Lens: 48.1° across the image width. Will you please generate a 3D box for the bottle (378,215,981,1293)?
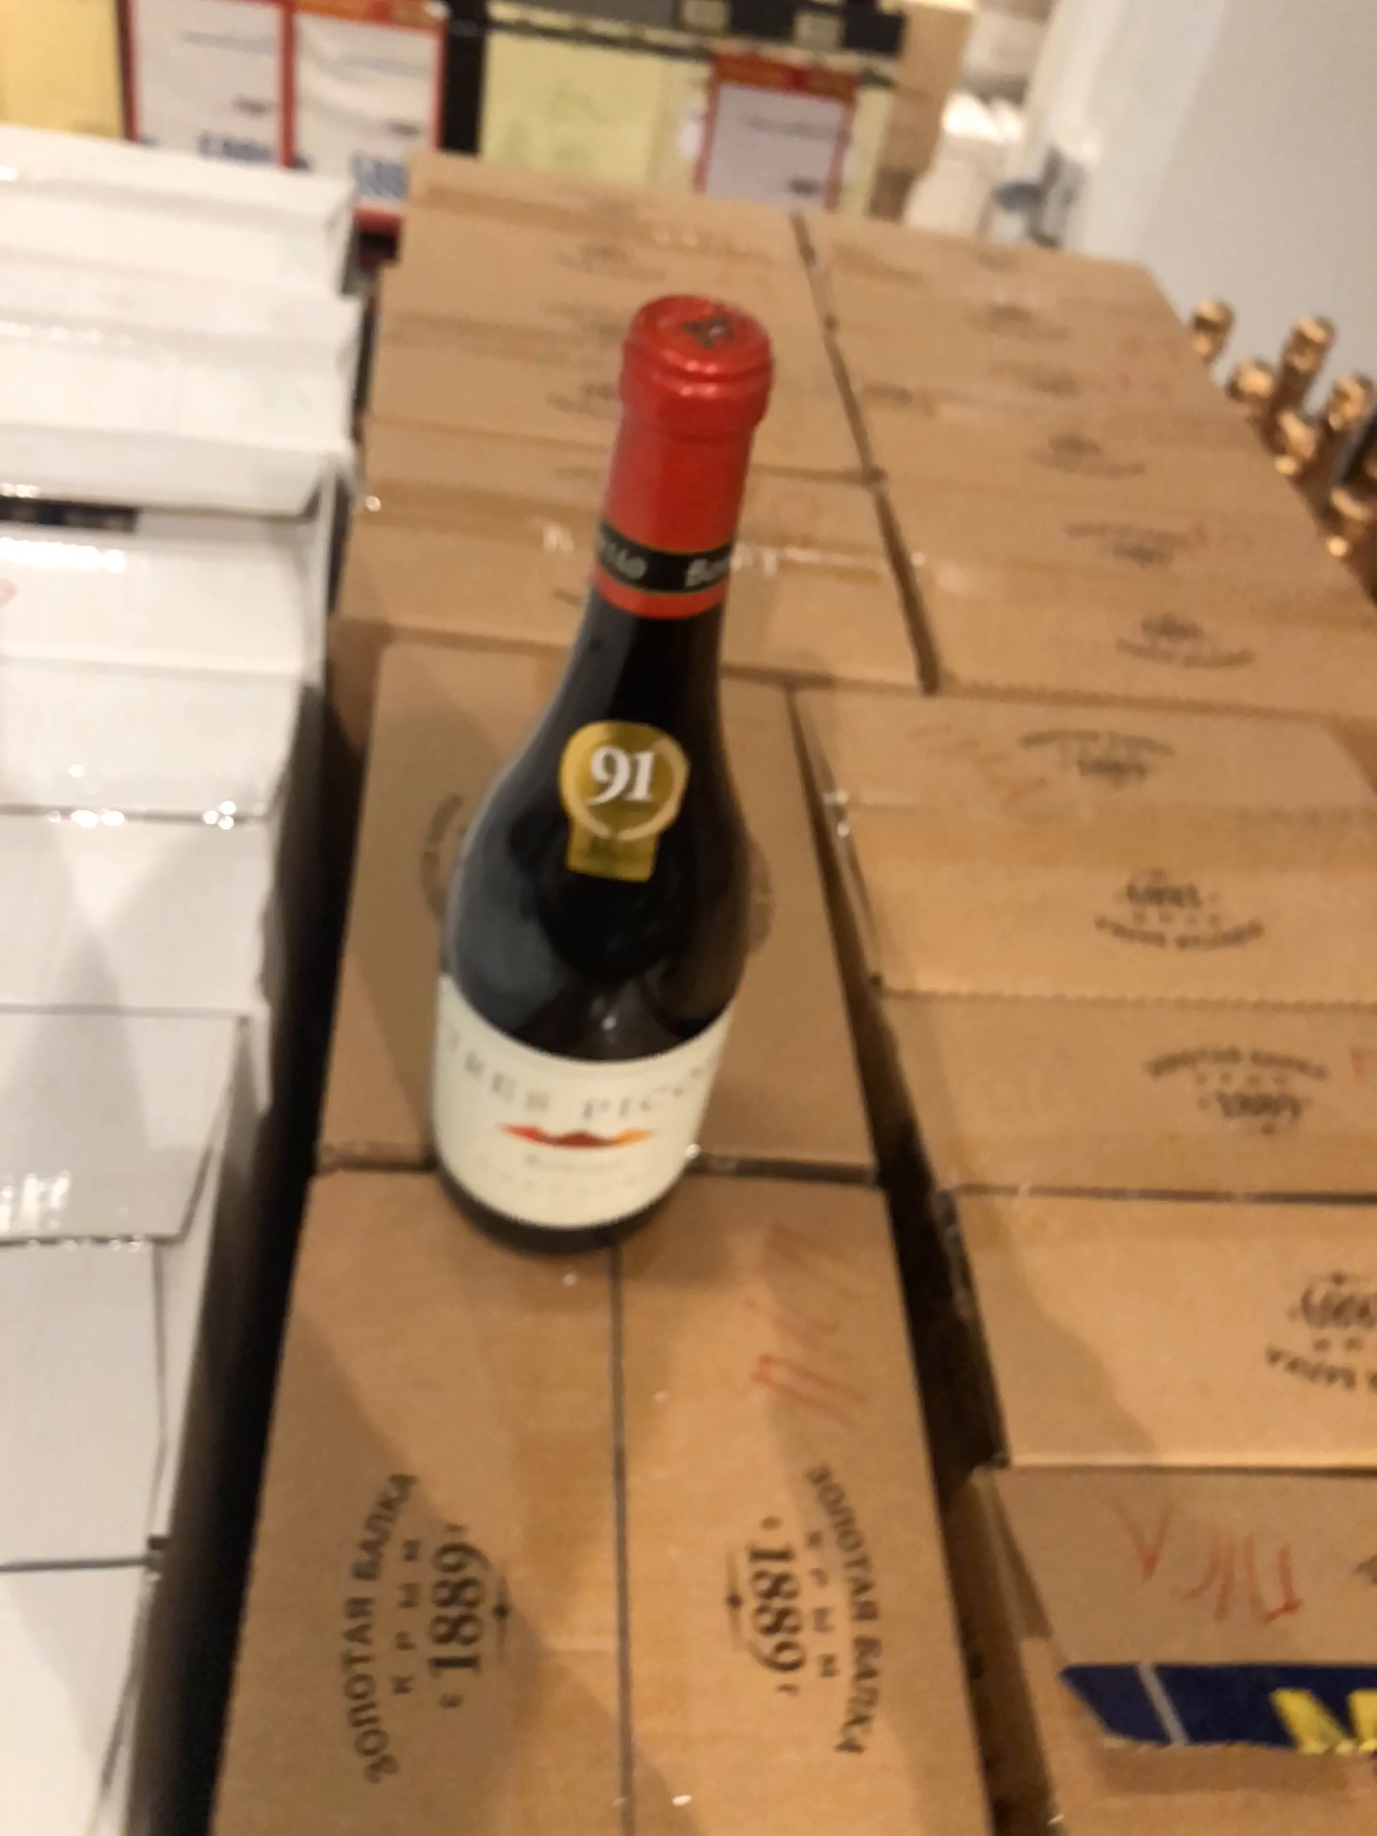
[{"bbox_3d":[-0.019,-0.022,0.408,0.100,0.268,0.101,7,44,-7],"label":"bottle"}]
